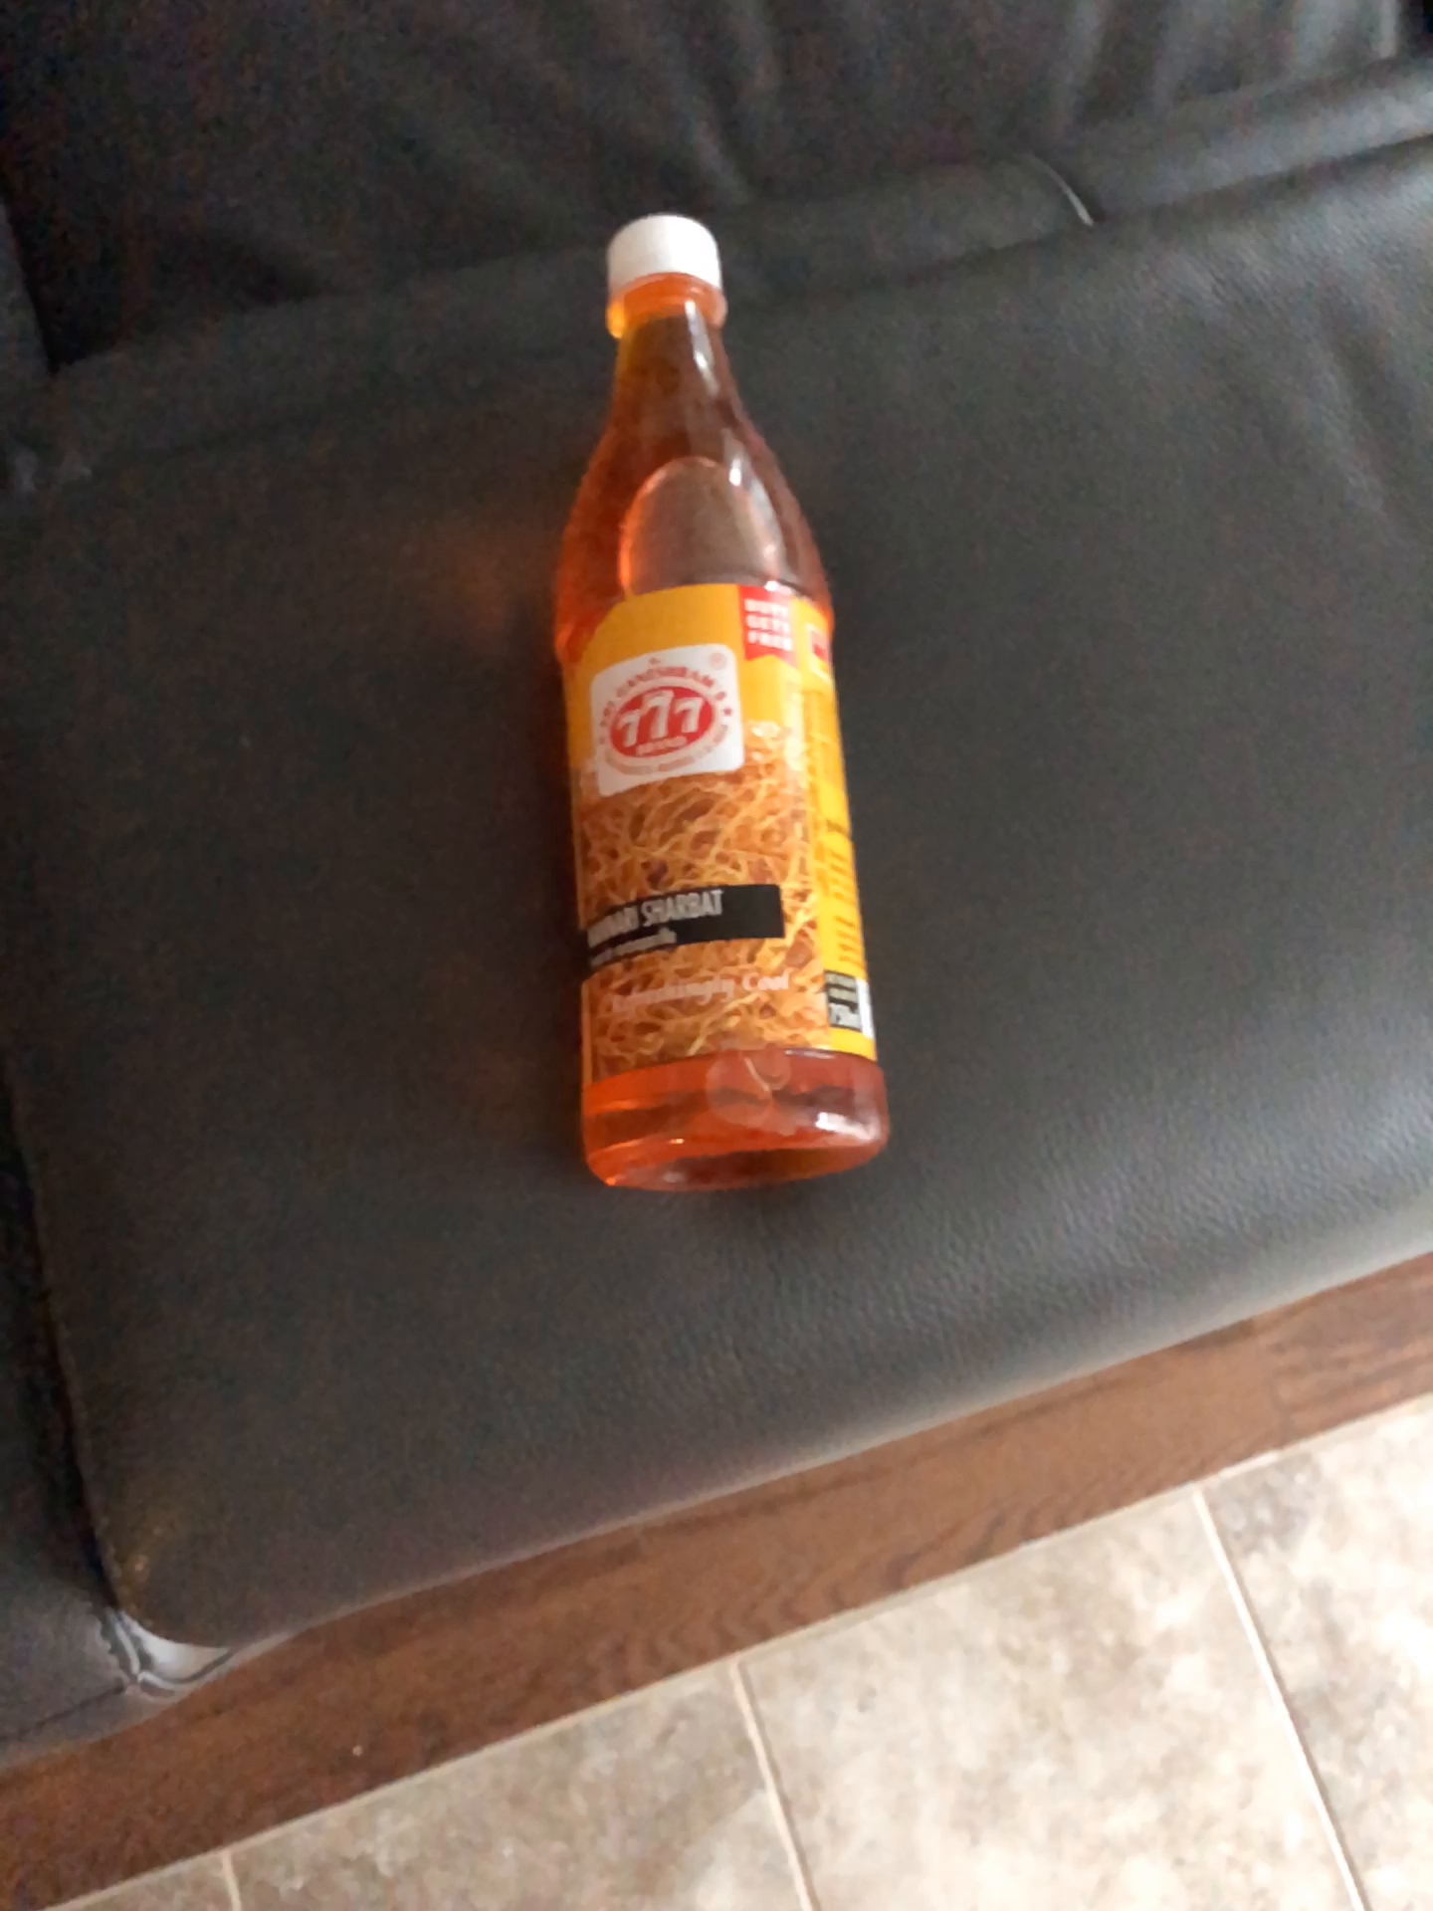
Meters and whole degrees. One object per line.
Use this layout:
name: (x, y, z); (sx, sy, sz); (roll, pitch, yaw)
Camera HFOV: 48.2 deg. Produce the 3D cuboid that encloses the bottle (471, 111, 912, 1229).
bottle: (-0.009, -0.076, 0.426); (0.080, 0.070, 0.280); (-8, 73, 11)
